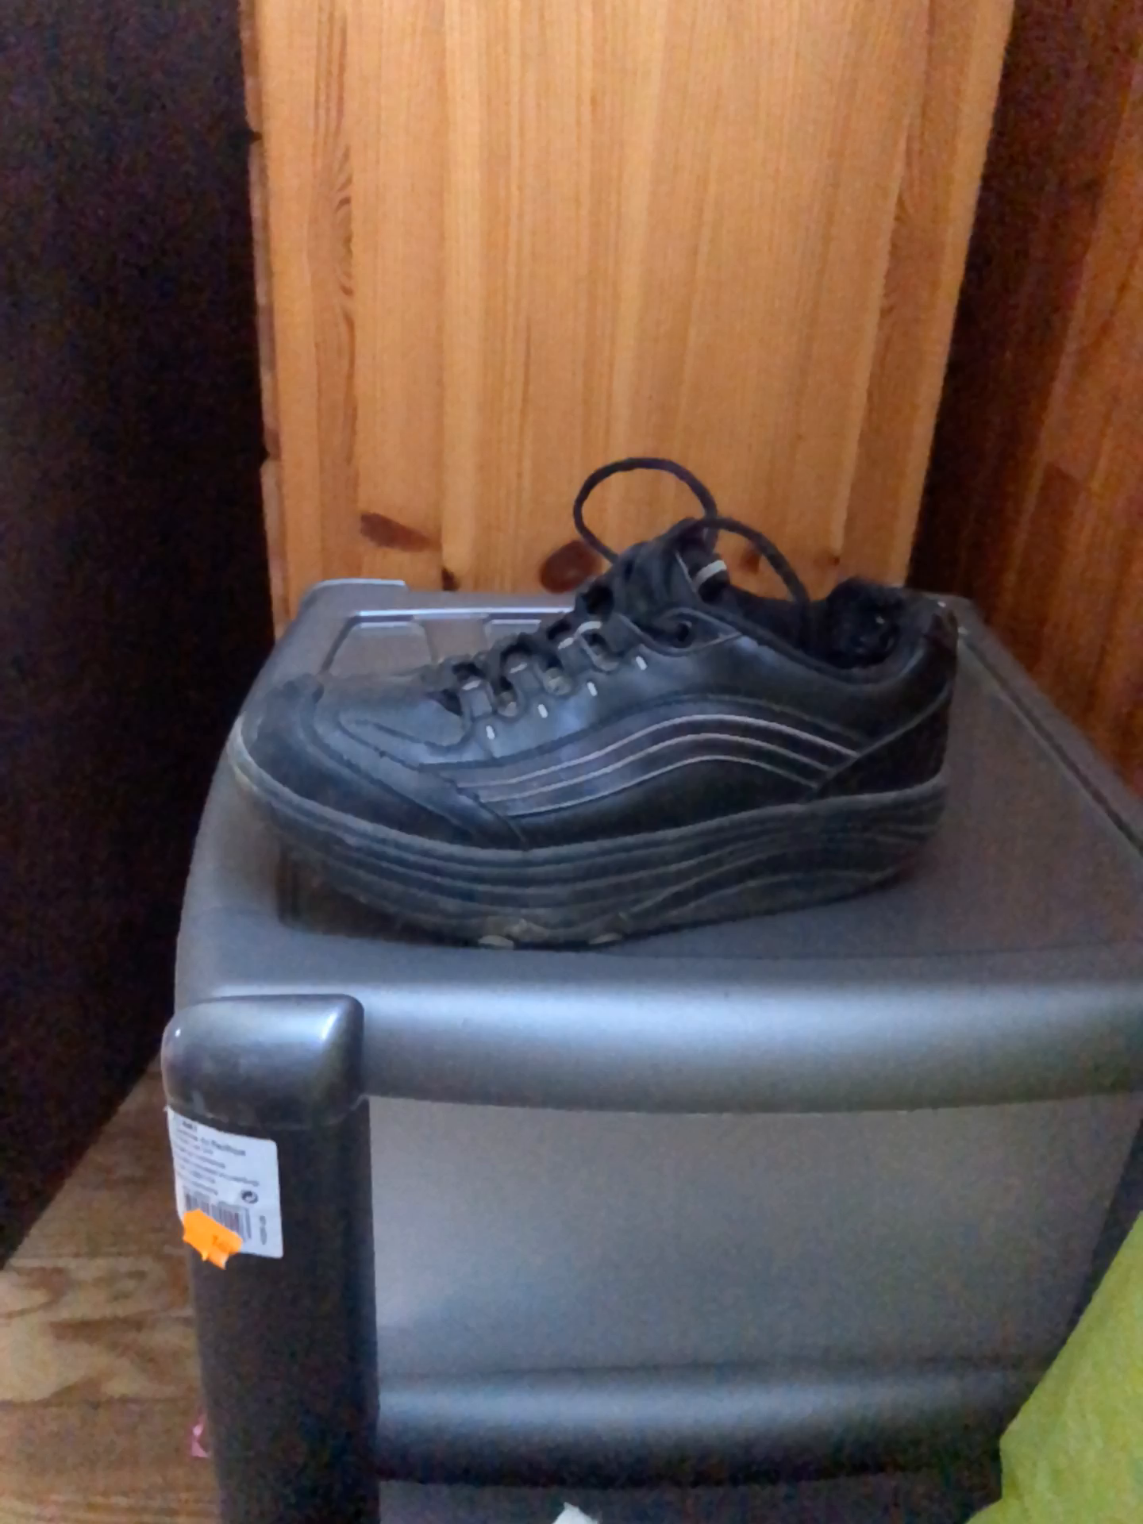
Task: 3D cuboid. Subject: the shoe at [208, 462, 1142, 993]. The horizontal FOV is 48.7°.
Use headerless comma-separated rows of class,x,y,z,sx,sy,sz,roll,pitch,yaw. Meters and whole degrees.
shoe,0.025,-0.020,0.424,0.270,0.129,0.111,-3,29,-13
